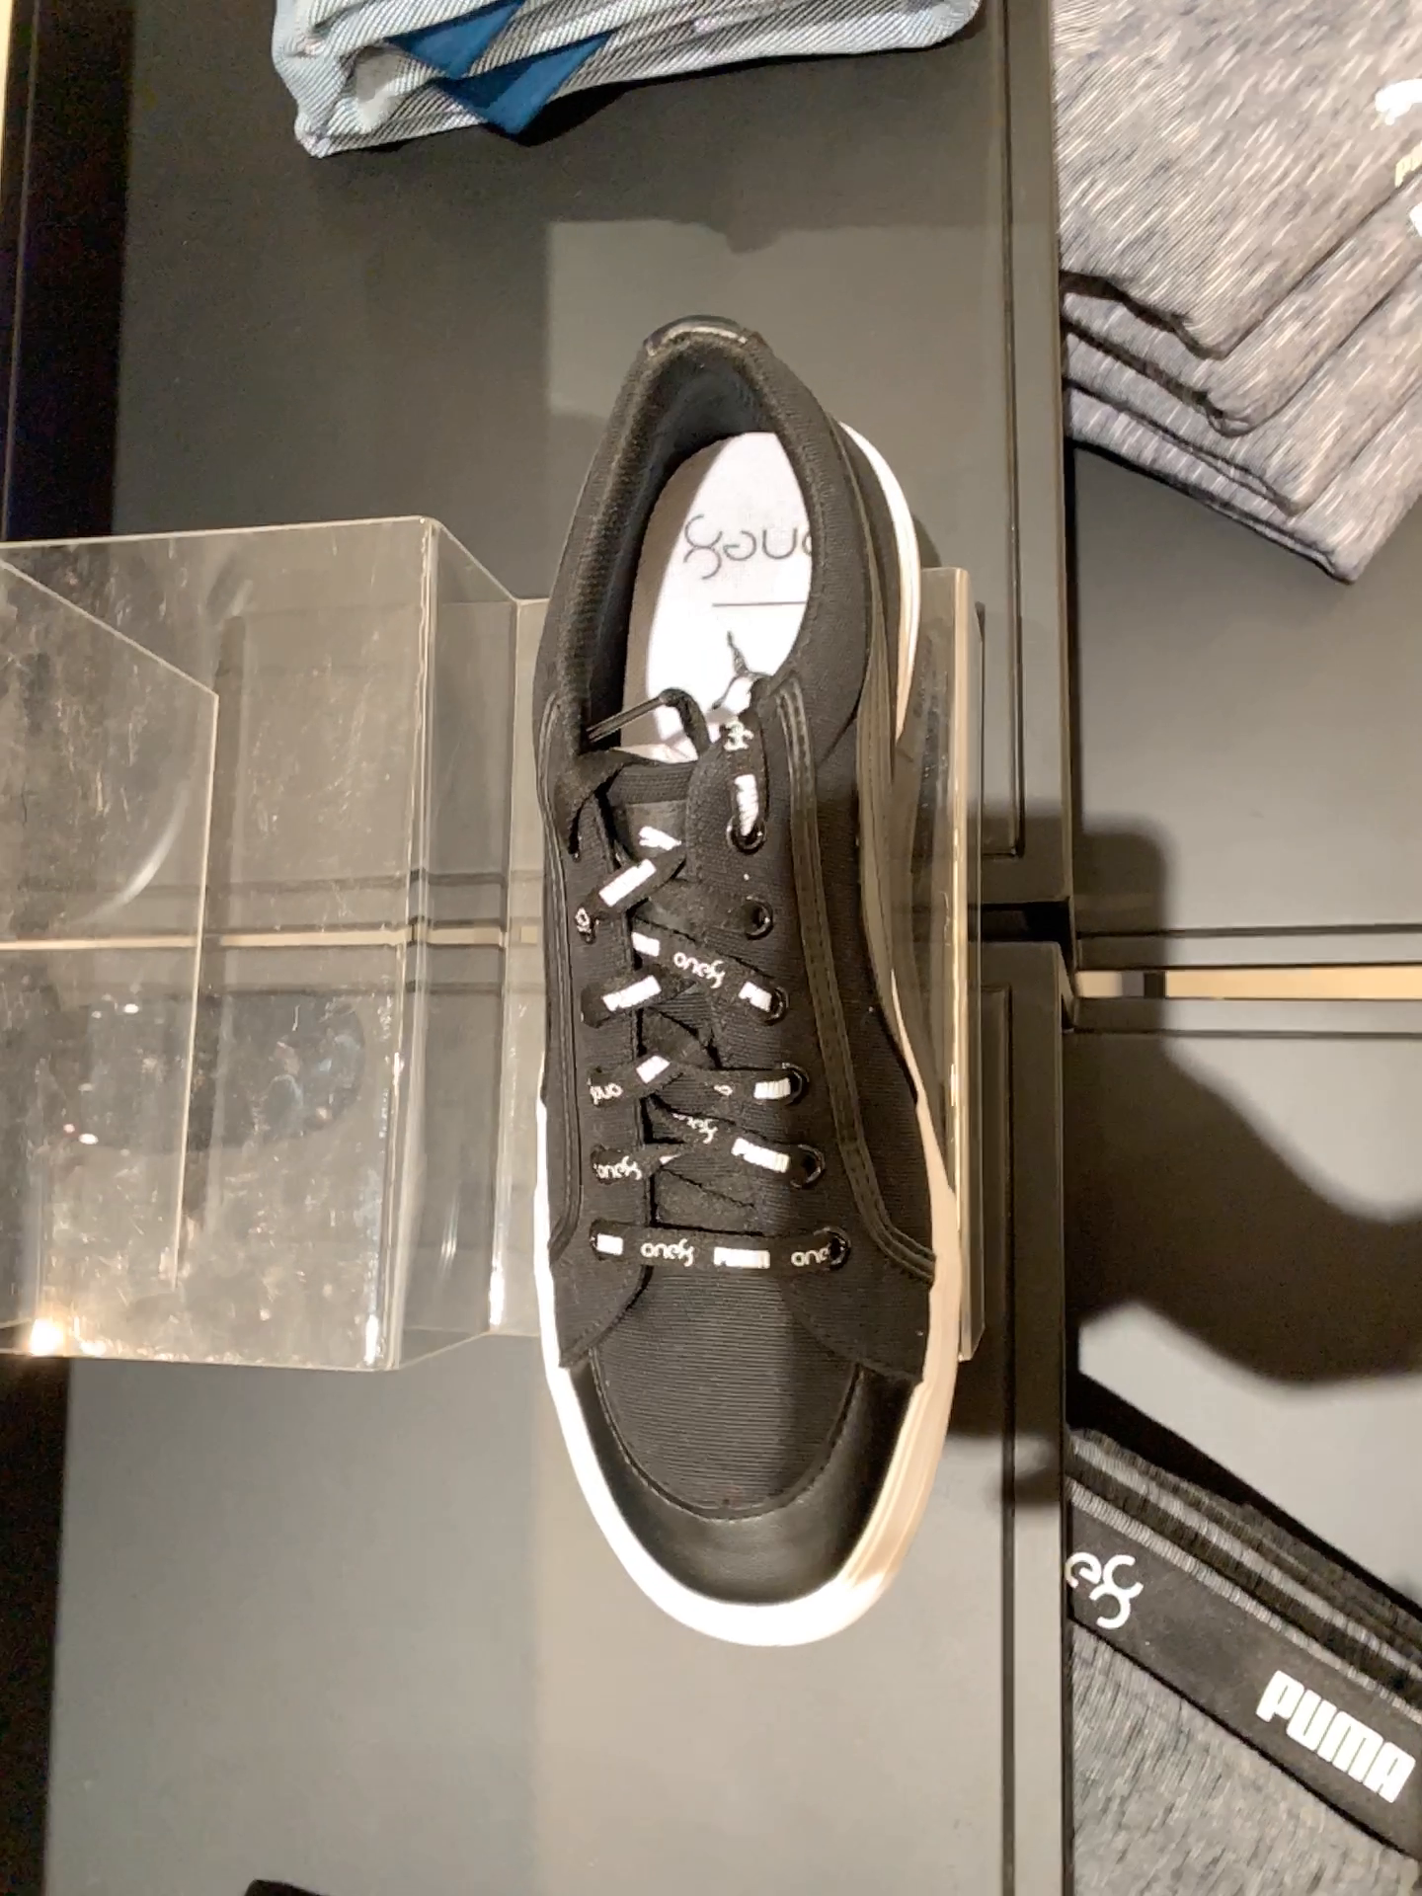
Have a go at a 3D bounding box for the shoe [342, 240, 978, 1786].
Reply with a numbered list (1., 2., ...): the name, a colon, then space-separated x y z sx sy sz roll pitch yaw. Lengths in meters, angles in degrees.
1. shoe: 0.000 0.009 0.326 0.110 0.100 0.280 -1 82 15
